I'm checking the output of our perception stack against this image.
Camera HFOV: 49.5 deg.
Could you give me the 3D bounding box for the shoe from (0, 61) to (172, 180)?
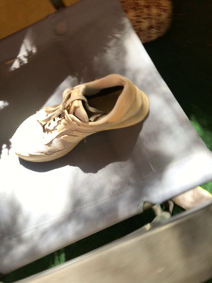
[{"bbox_3d":[-0.048,-0.035,0.427,0.287,0.104,0.125,-15,74,-6],"label":"shoe"}]
